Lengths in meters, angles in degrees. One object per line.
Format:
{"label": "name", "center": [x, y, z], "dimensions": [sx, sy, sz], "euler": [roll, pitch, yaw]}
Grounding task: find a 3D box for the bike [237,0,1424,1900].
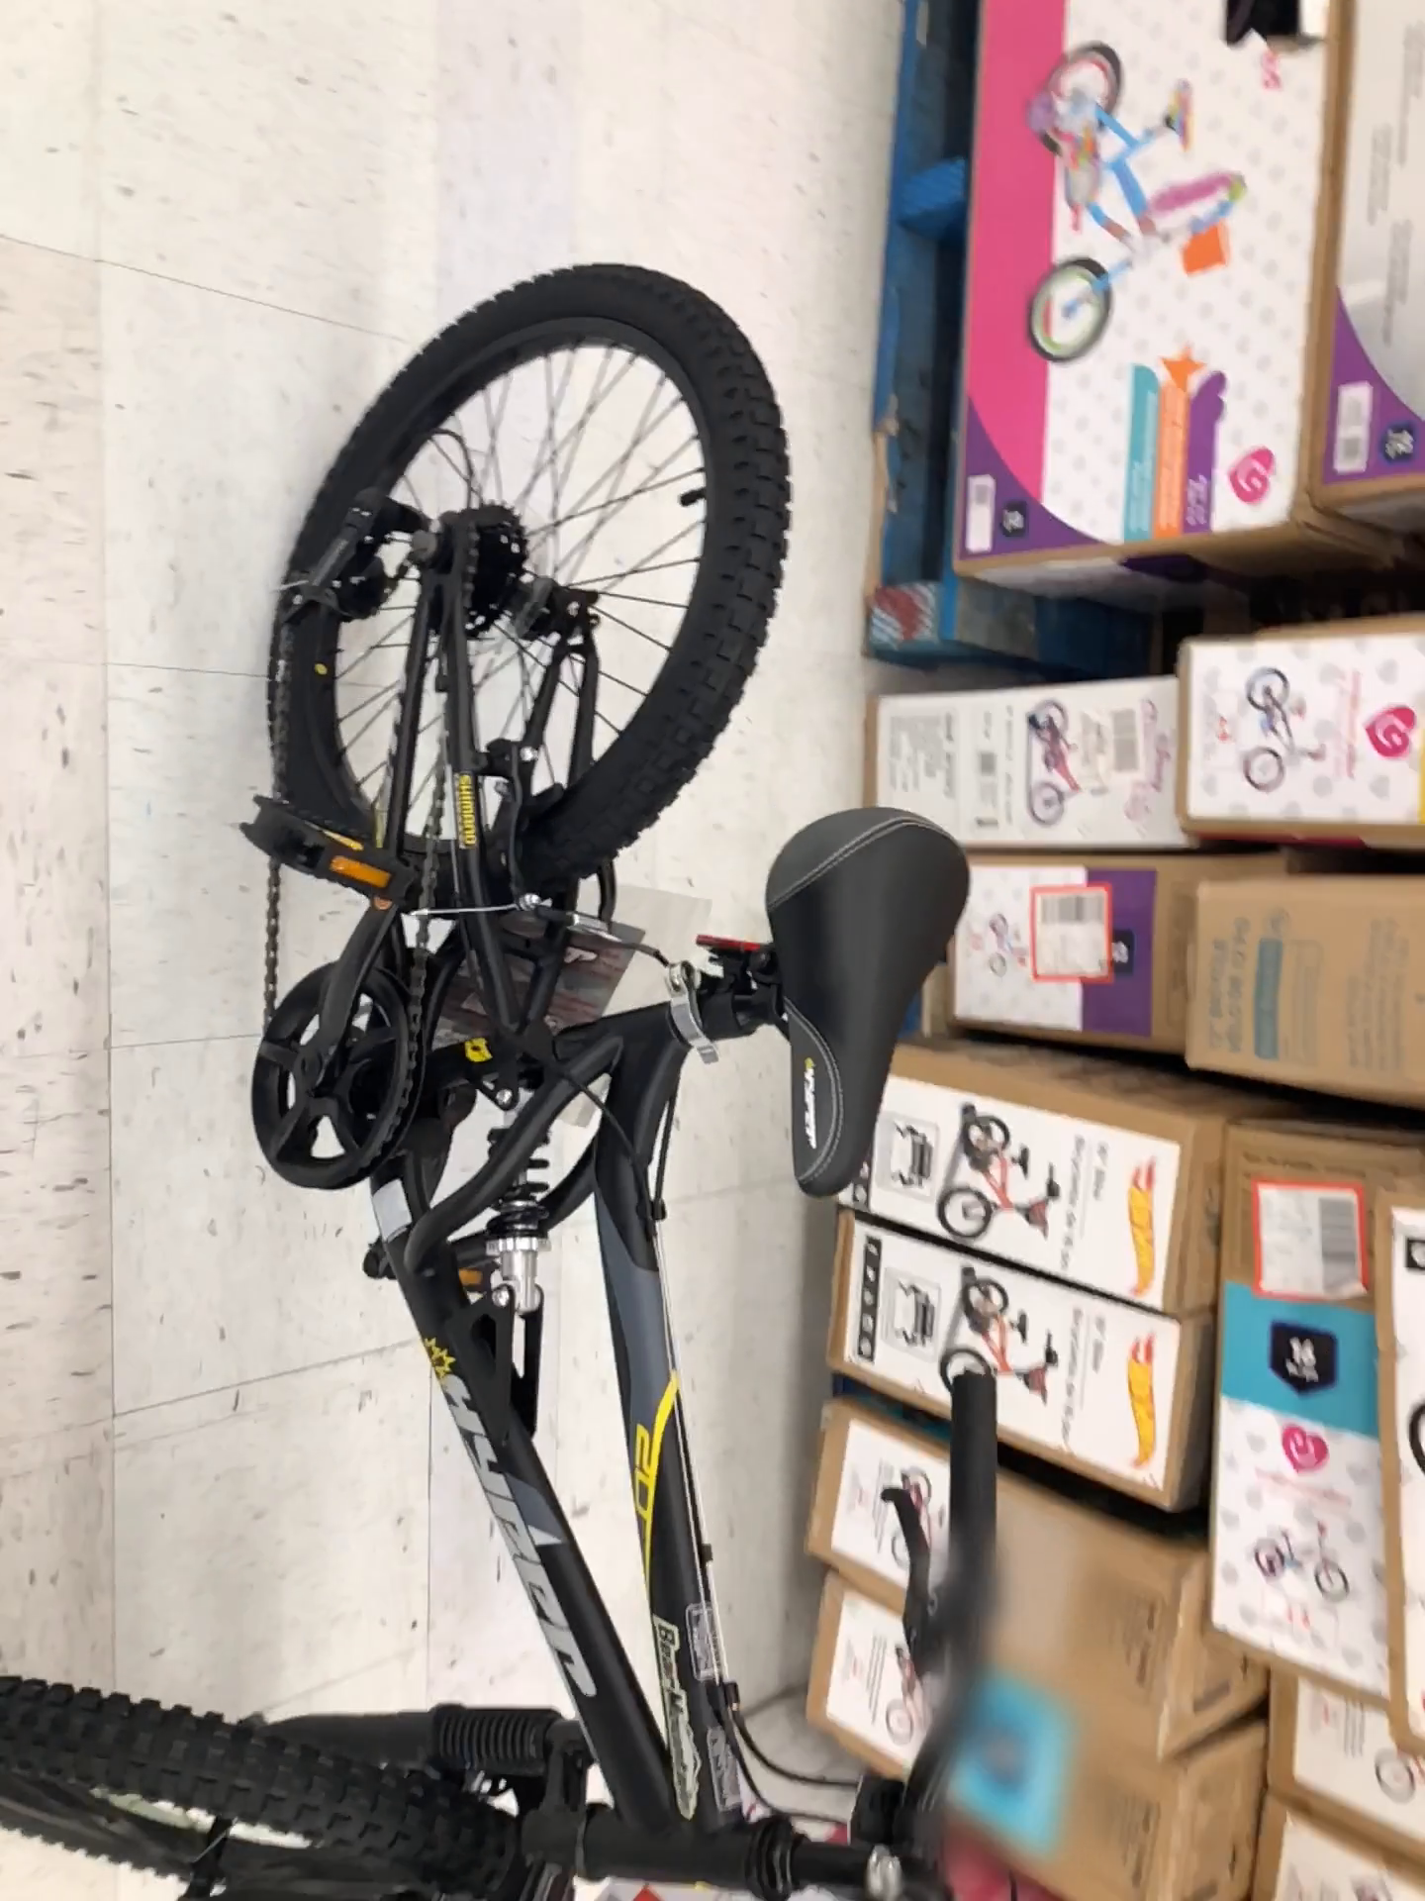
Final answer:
{"label": "bike", "center": [0.101, 0.176, 1.134], "dimensions": [0.525, 0.849, 1.258], "euler": [4, 89, -44]}
